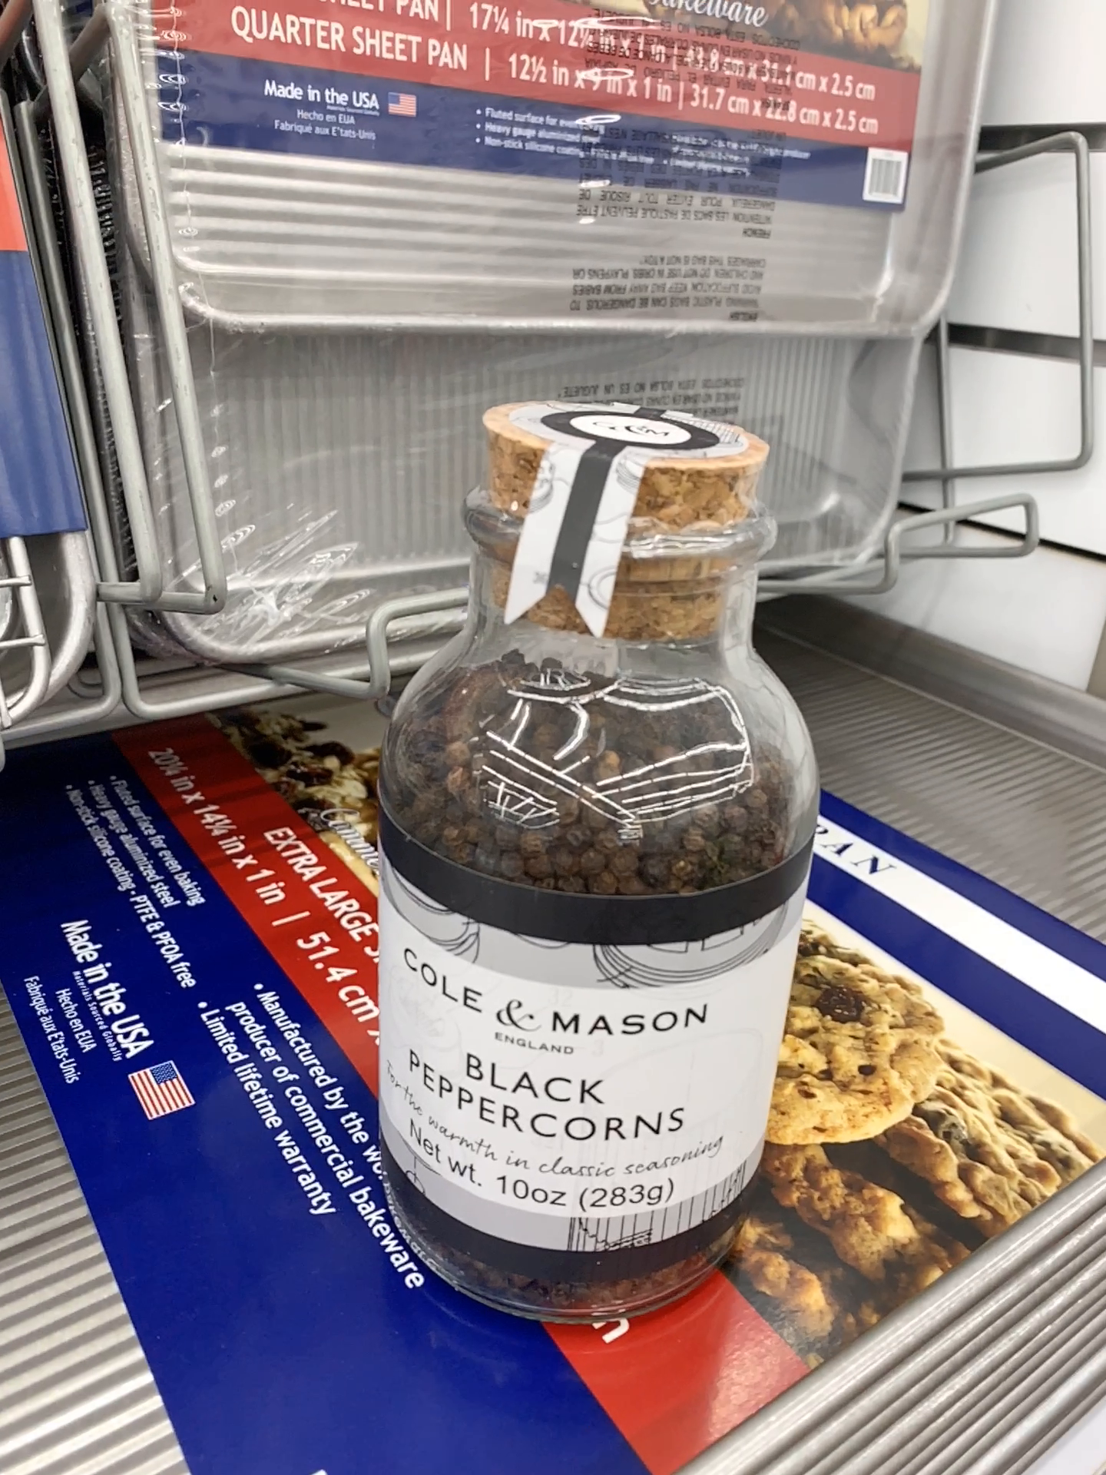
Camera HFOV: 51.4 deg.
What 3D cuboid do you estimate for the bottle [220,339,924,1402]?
[{"bbox_3d":[0.008,0.016,0.216,0.090,0.159,0.090,2,24,-1],"label":"bottle"}]
